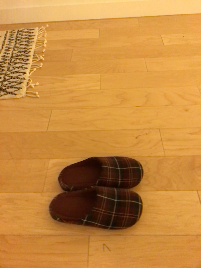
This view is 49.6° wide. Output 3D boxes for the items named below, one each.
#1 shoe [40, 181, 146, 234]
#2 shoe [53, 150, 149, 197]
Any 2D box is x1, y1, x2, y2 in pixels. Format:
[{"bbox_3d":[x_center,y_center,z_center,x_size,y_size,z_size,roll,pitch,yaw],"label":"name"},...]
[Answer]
[{"bbox_3d":[-0.016,0.197,0.596,0.270,0.030,0.121,2,49,6],"label":"shoe"},{"bbox_3d":[-0.001,0.117,0.663,0.270,0.030,0.121,-5,49,0],"label":"shoe"}]
